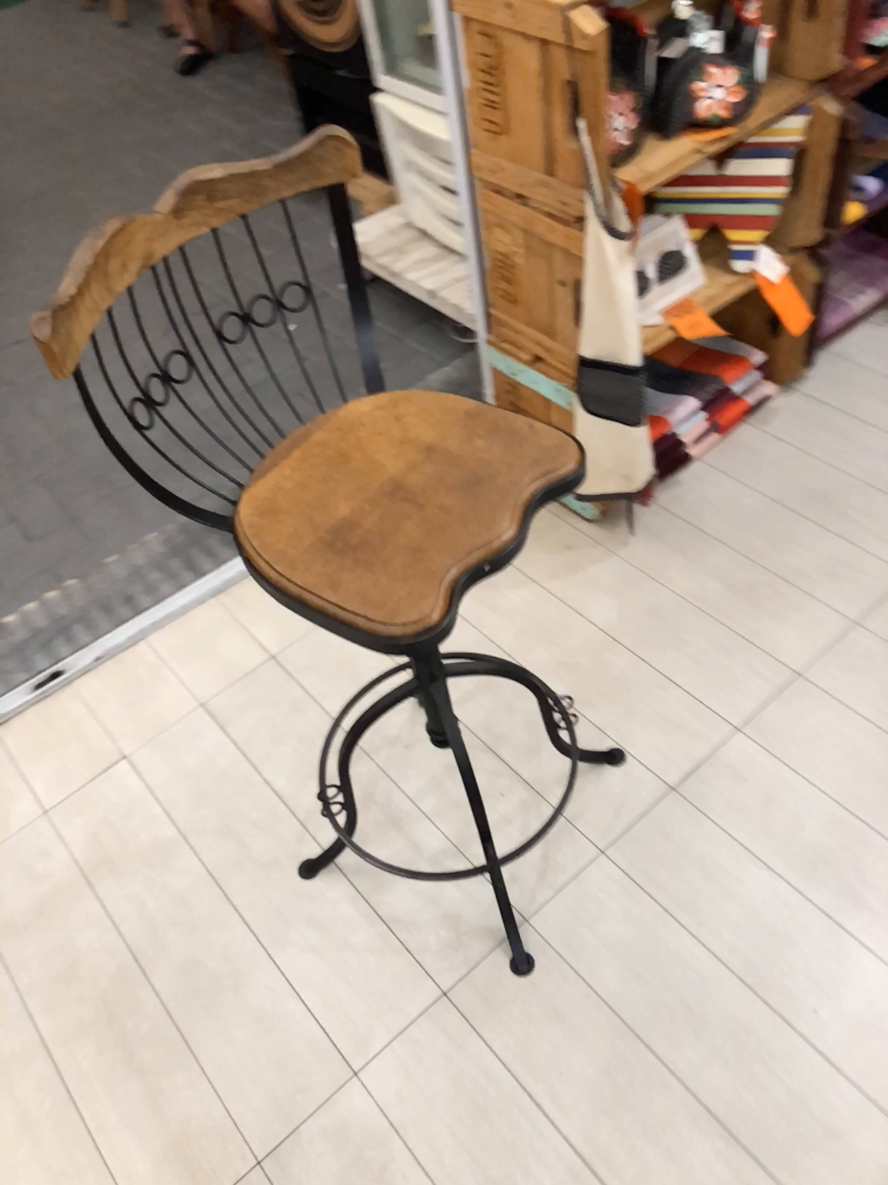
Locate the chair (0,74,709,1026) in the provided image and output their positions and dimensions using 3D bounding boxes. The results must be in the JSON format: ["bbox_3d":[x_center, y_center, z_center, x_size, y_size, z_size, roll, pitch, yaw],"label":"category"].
[{"bbox_3d":[-0.046,-0.002,1.107,0.471,0.894,0.462,23,56,29],"label":"chair"}]
